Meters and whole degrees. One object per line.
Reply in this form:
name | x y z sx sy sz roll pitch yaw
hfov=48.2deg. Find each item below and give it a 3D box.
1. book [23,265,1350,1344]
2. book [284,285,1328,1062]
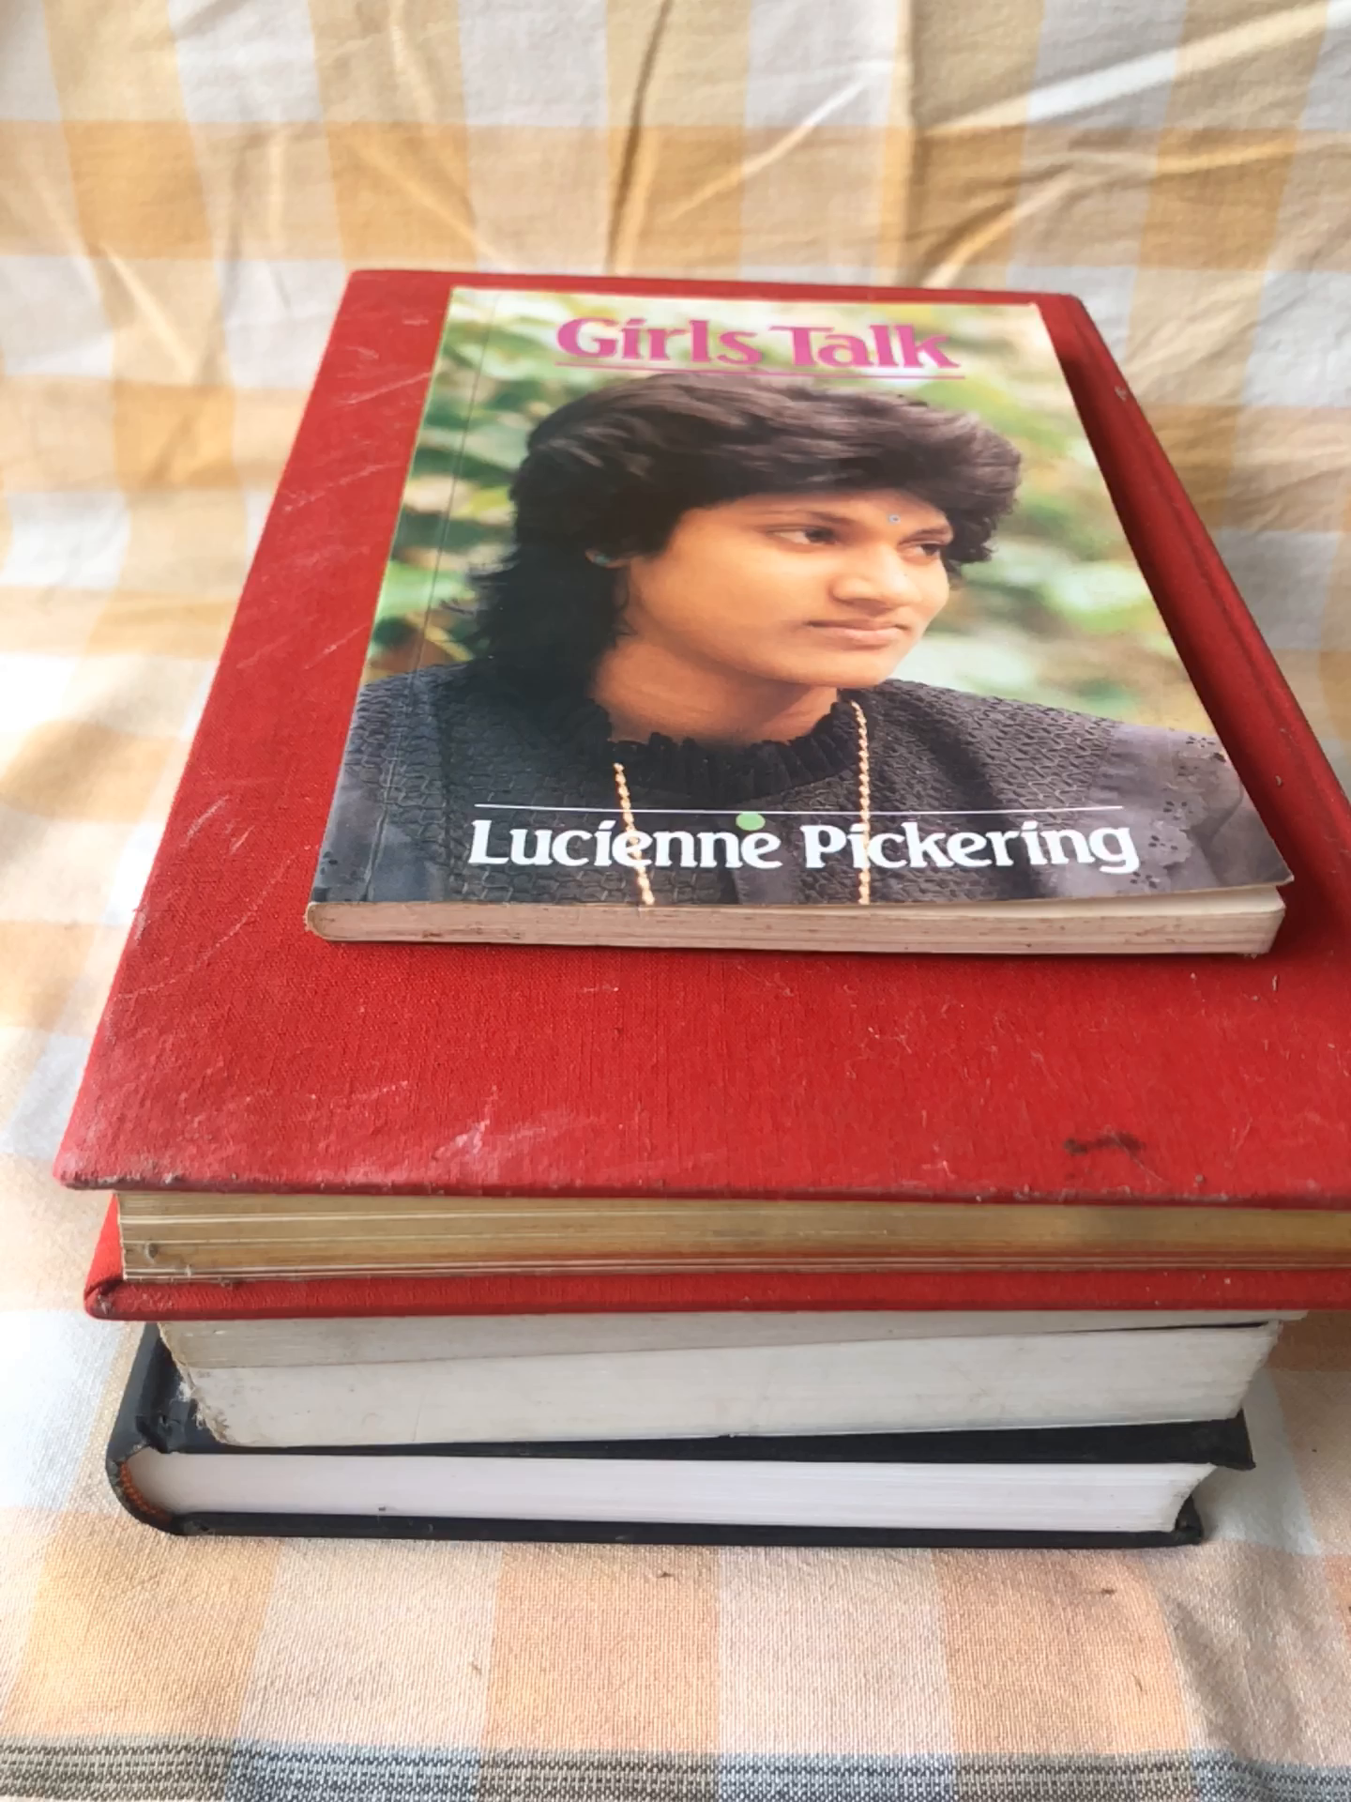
book | 0.014 -0.045 0.264 0.174 0.031 0.250 0 44 -3
book | 0.015 -0.053 0.260 0.130 0.025 0.183 1 46 -2
